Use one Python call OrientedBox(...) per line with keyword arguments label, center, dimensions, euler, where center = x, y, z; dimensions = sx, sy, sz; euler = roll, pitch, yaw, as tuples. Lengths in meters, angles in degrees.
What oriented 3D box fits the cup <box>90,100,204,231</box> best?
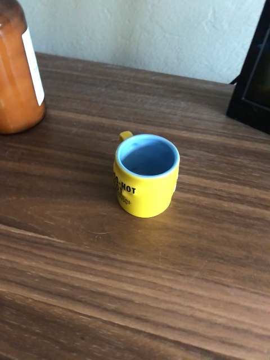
OrientedBox(label="cup", center=(0.006, -0.016, 0.271), dimensions=(0.060, 0.060, 0.090), euler=(-21, 54, -19))
